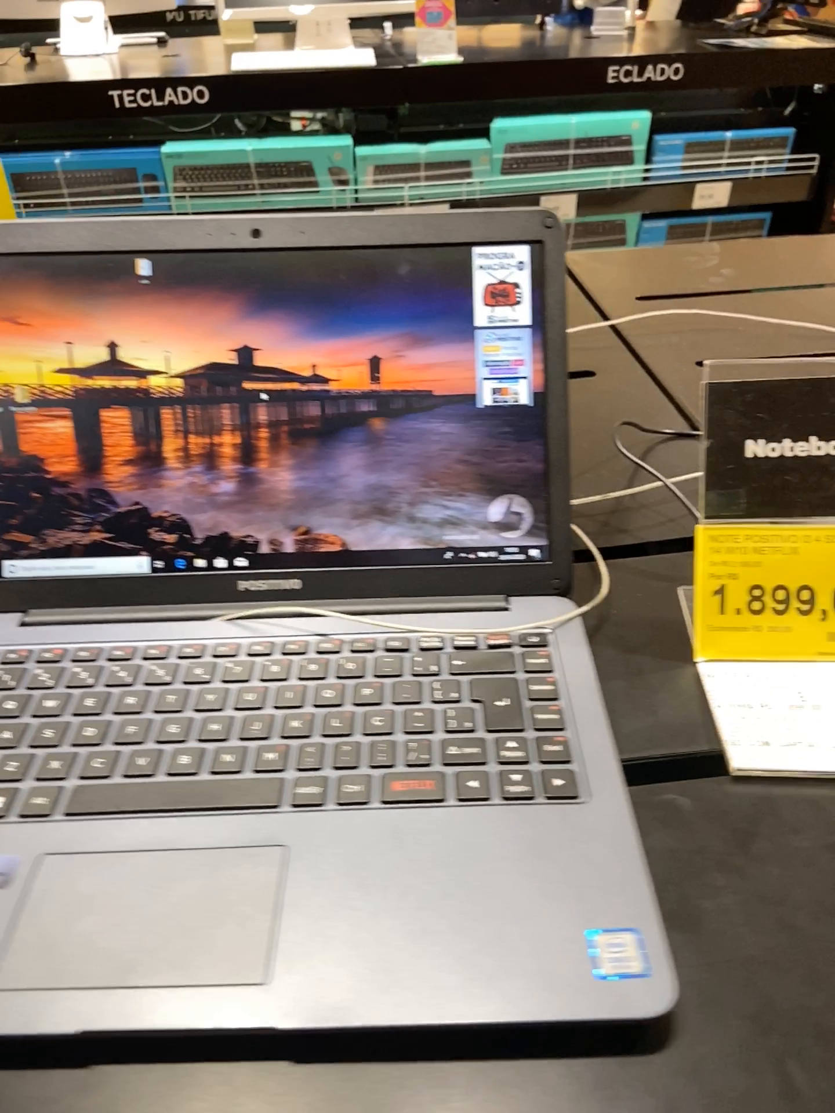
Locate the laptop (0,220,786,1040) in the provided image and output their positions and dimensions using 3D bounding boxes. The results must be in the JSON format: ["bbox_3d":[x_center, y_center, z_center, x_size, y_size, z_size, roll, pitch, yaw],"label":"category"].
[{"bbox_3d":[-0.083,-0.010,0.379,0.332,0.172,0.343,-2,35,1],"label":"laptop"}]
